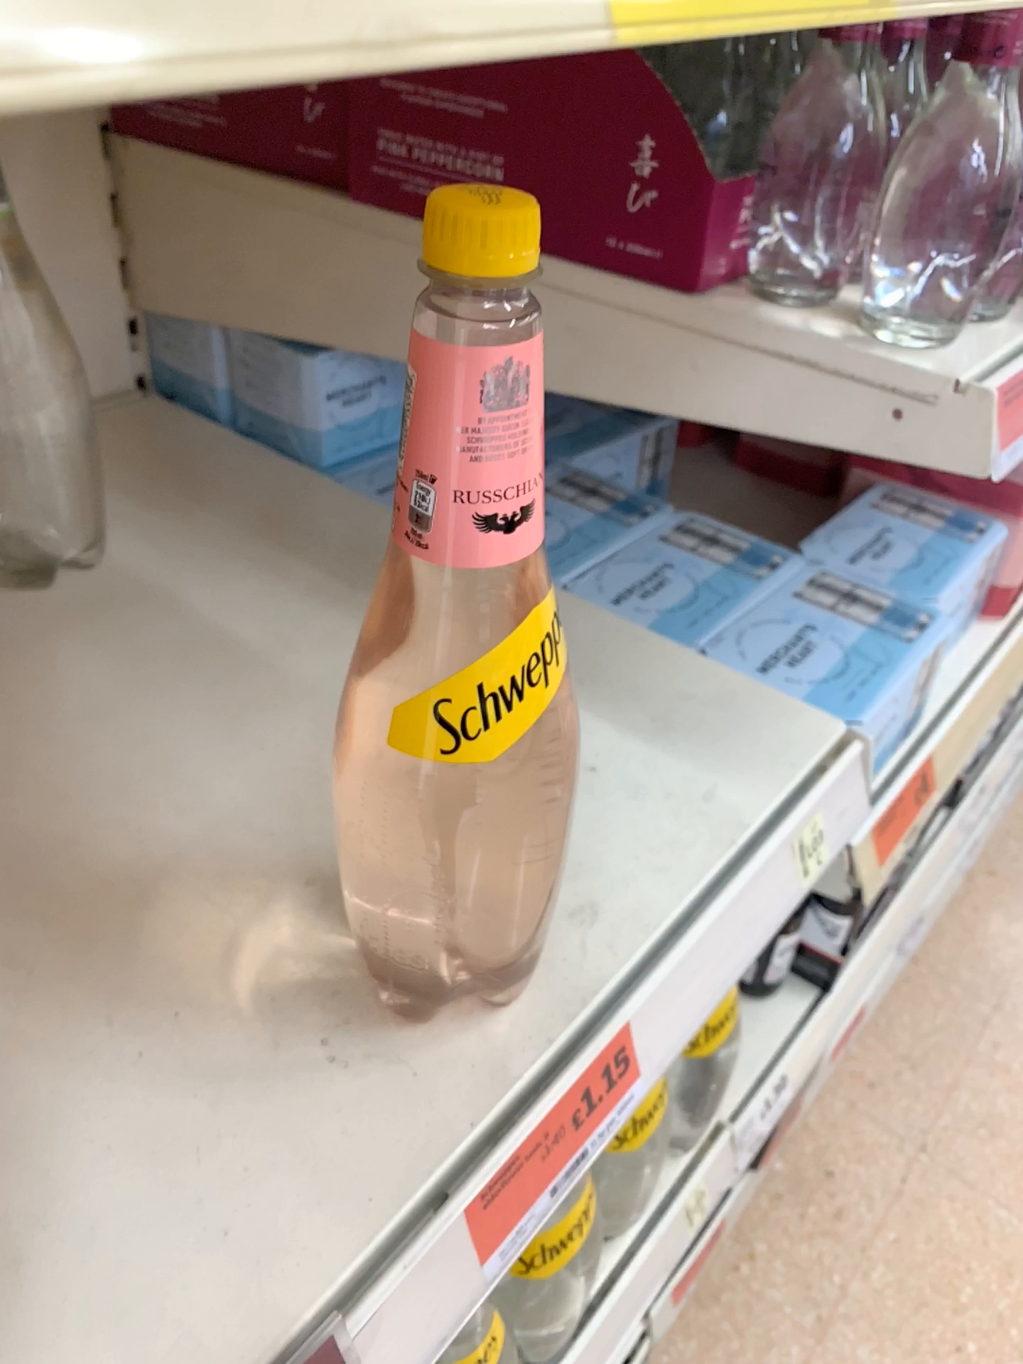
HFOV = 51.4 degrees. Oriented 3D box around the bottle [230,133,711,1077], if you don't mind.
[{"bbox_3d":[-0.021,-0.008,0.360,0.085,0.299,0.090,3,37,-2],"label":"bottle"}]
